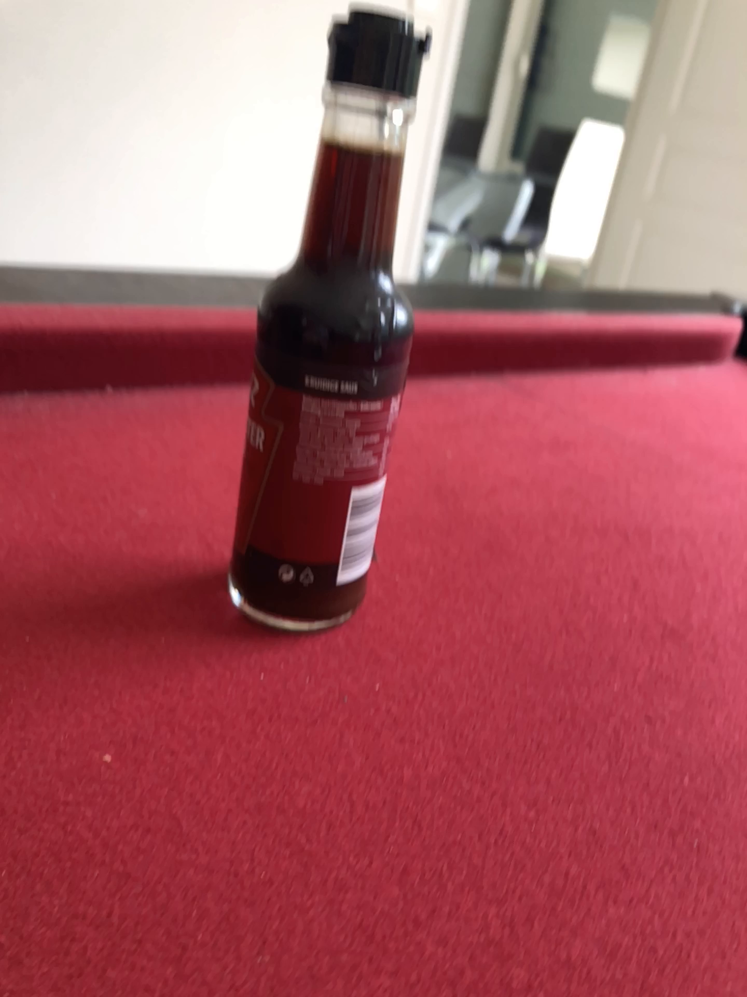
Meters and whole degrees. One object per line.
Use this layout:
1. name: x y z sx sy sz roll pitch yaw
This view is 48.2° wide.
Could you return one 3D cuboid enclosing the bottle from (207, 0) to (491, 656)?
1. bottle: -0.010 -0.047 0.250 0.050 0.179 0.050 9 23 -4
